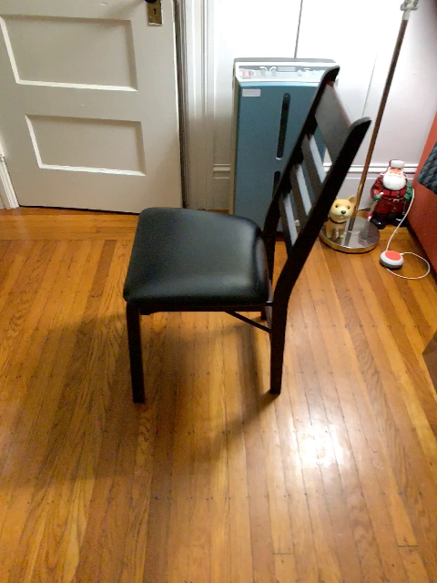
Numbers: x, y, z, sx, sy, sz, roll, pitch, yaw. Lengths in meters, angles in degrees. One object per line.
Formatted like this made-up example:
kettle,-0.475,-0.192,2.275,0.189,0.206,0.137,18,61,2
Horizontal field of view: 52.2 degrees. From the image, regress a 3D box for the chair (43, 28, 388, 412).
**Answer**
chair,-0.022,-0.145,1.183,0.550,0.865,0.493,-1,42,-3
